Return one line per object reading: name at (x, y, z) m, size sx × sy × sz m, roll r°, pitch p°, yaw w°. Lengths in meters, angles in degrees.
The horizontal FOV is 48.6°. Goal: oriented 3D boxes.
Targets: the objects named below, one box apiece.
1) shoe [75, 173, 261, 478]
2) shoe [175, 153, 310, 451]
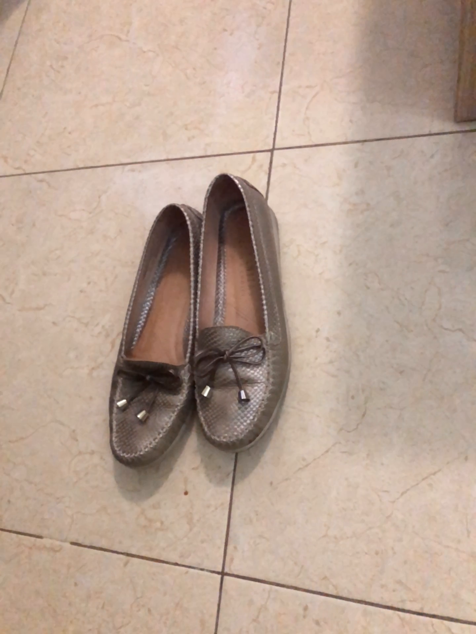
shoe at (-0.064, 0.003, 0.551) m, size 0.100 × 0.080 × 0.300 m, roll 6°, pitch 74°, yaw 22°
shoe at (0.008, -0.012, 0.512) m, size 0.100 × 0.080 × 0.270 m, roll -6°, pitch 70°, yaw 18°
